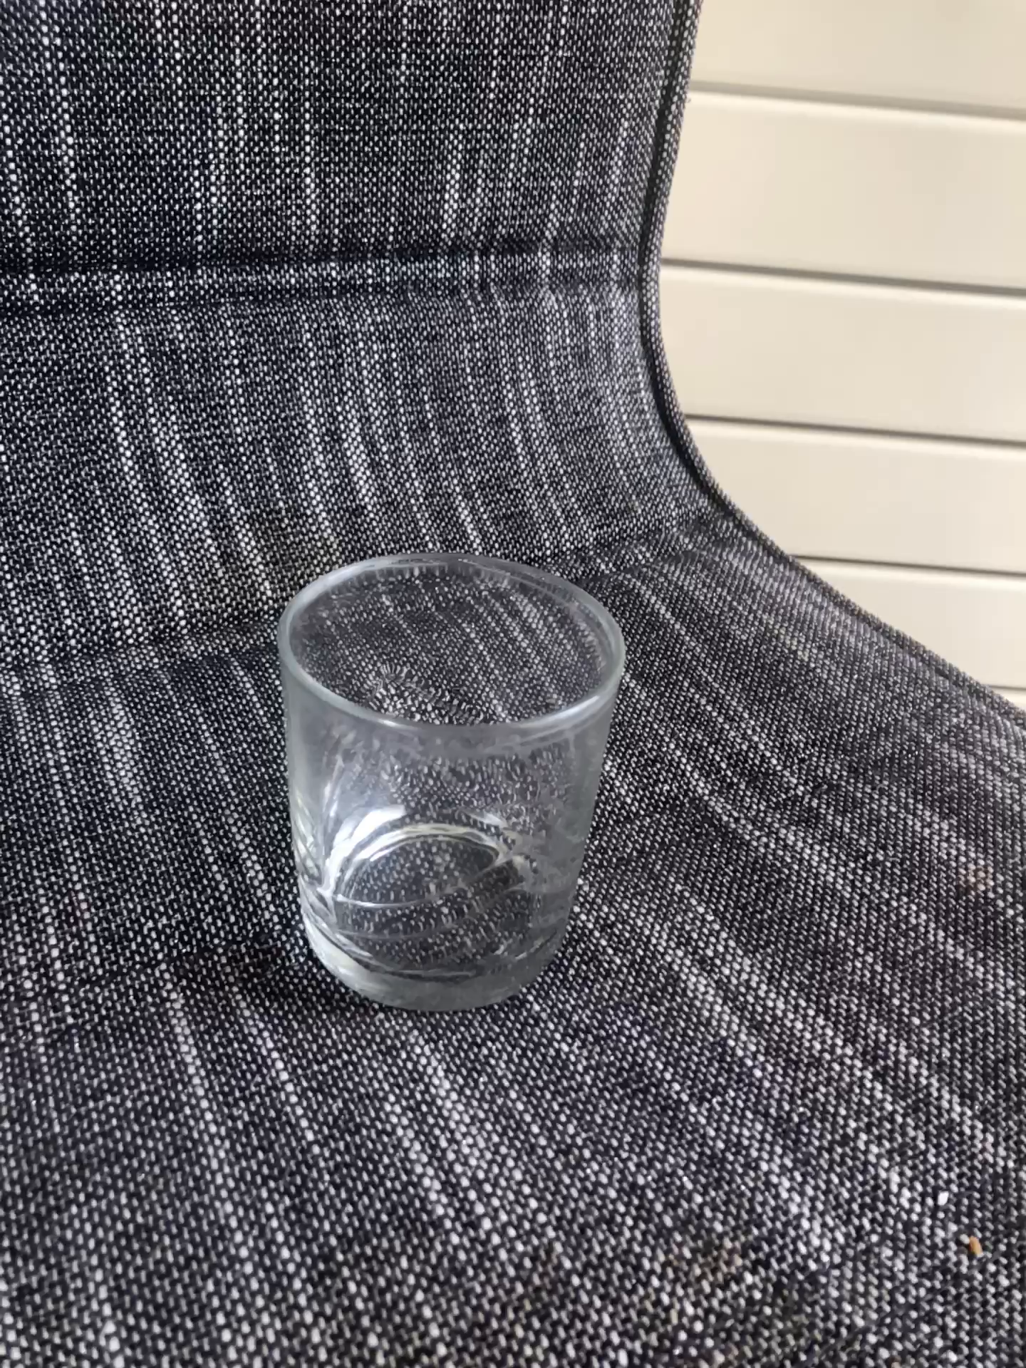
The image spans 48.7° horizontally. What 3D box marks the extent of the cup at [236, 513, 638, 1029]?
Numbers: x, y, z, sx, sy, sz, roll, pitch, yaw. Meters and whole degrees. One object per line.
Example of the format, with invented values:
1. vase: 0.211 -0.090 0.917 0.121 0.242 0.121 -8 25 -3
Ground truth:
1. cup: -0.014 0.018 0.248 0.070 0.079 0.070 4 35 -3
